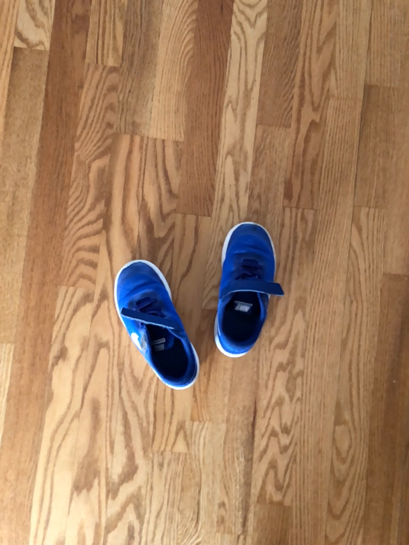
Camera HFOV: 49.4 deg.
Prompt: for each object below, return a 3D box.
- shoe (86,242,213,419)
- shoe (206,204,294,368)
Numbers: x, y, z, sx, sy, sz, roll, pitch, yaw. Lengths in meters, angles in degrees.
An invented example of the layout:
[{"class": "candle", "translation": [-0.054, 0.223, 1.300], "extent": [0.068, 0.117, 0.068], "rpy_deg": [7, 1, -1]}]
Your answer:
[{"class": "shoe", "translation": [-0.075, 0.078, 0.636], "extent": [0.093, 0.092, 0.214], "rpy_deg": [-23, 88, -4]}, {"class": "shoe", "translation": [0.063, 0.020, 0.651], "extent": [0.093, 0.092, 0.214], "rpy_deg": [7, 86, -2]}]
